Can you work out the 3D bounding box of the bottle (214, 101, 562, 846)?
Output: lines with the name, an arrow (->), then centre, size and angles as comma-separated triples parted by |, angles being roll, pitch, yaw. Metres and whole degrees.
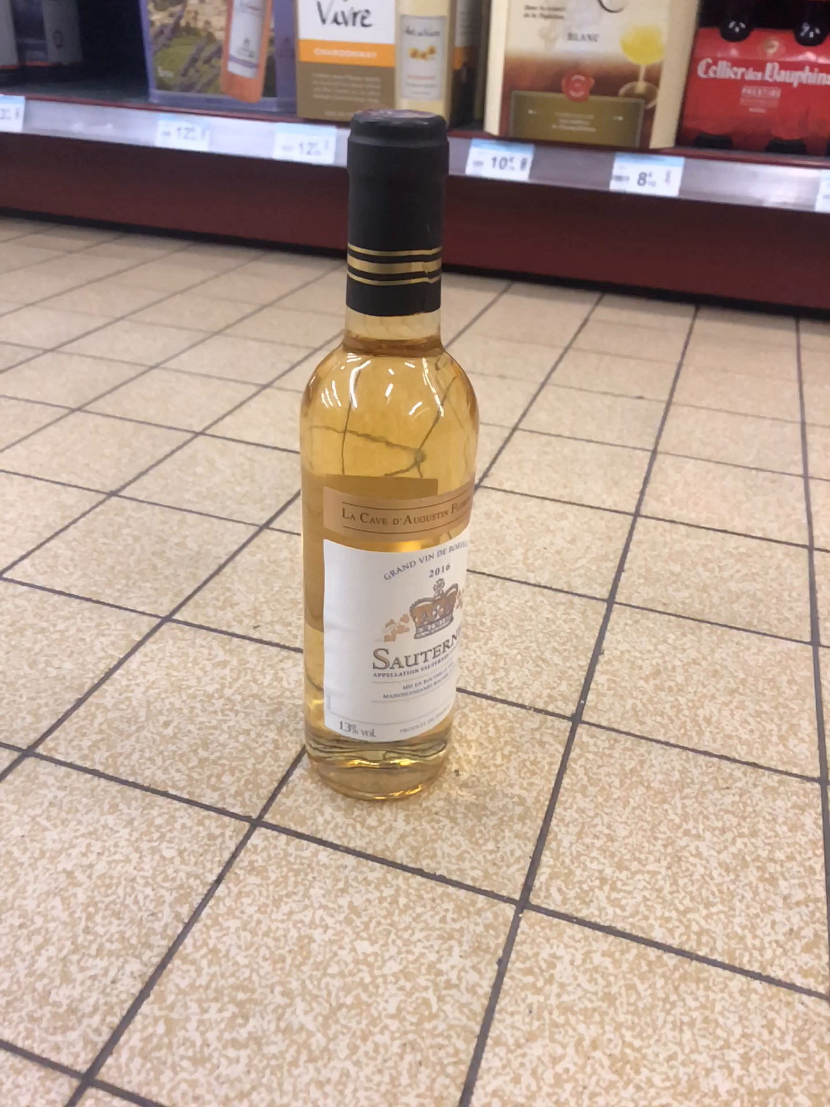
bottle -> -0.013, -0.022, 0.320 | 0.070, 0.239, 0.070 | 2, 30, -1
